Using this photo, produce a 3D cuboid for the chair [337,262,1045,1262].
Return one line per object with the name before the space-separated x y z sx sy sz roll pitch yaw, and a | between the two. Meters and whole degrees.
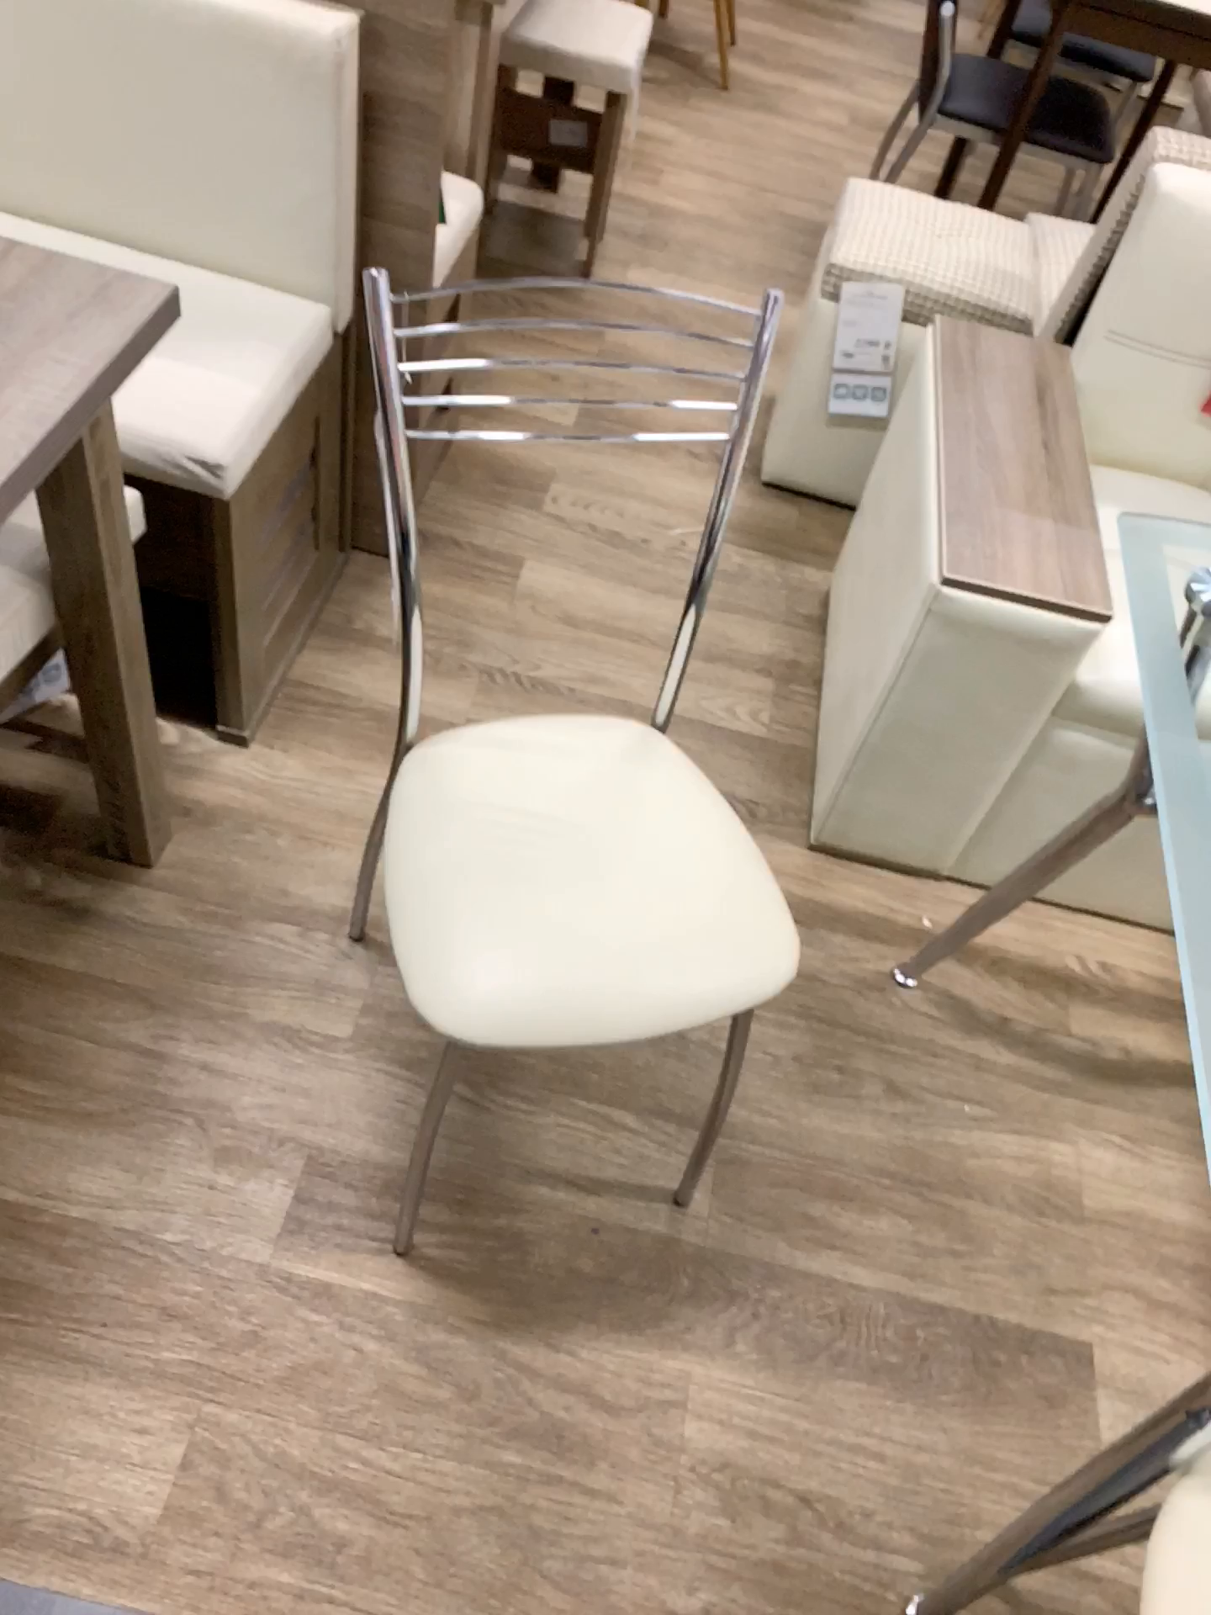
chair | -0.039 0.031 1.299 0.413 0.968 0.482 -4 52 -16
